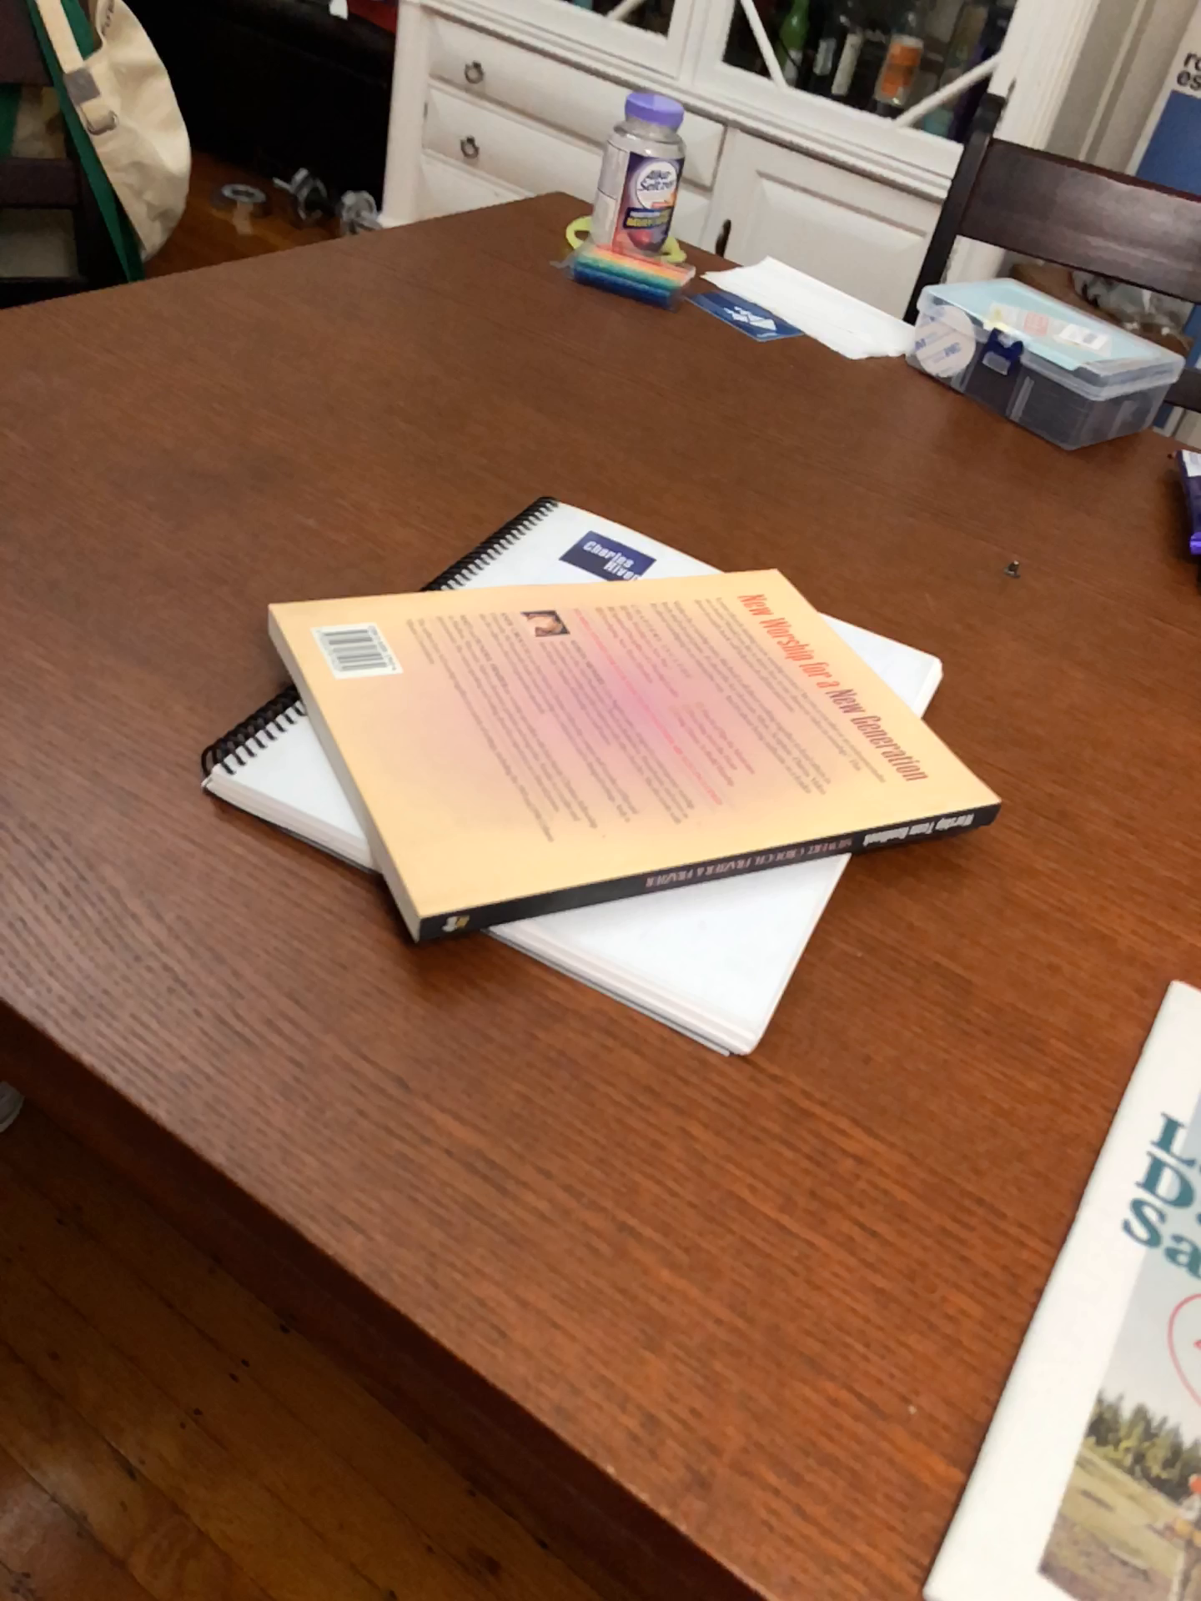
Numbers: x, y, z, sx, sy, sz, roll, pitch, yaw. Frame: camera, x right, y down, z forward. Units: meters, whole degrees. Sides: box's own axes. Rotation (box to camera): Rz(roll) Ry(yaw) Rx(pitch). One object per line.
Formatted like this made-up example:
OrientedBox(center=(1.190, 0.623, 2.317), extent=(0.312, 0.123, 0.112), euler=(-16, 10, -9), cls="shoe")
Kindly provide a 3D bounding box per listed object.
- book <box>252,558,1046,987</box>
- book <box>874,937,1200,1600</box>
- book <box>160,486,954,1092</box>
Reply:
OrientedBox(center=(0.017, -0.030, 0.523), extent=(0.261, 0.020, 0.191), euler=(-10, 44, -27), cls="book")
OrientedBox(center=(0.218, 0.163, 0.365), extent=(0.200, 0.010, 0.271), euler=(29, 41, 18), cls="book")
OrientedBox(center=(0.006, -0.034, 0.553), extent=(0.230, 0.020, 0.292), euler=(24, 40, 12), cls="book")
